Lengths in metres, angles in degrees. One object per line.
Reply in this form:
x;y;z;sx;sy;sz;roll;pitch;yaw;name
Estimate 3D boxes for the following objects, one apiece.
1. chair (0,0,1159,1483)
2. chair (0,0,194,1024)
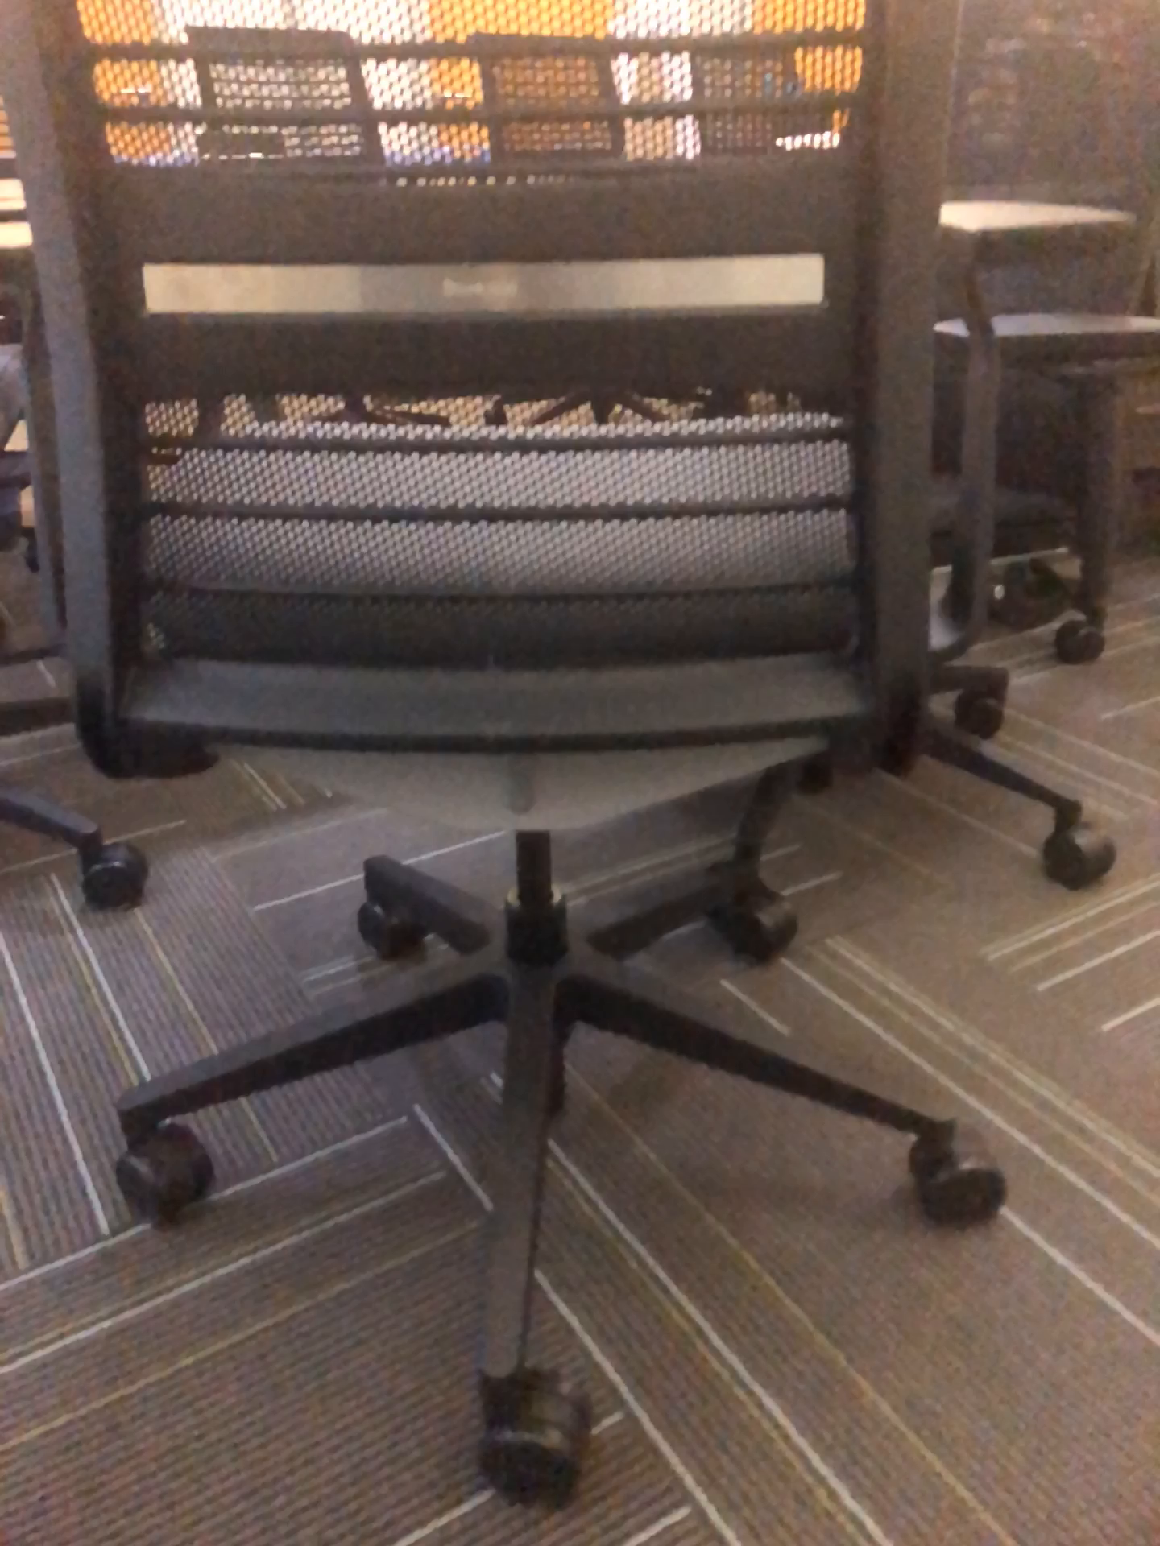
-0.042;-0.190;0.846;0.720;0.963;0.715;-1;25;1;chair
-0.885;-0.399;1.338;0.731;0.963;0.725;-6;25;-10;chair
